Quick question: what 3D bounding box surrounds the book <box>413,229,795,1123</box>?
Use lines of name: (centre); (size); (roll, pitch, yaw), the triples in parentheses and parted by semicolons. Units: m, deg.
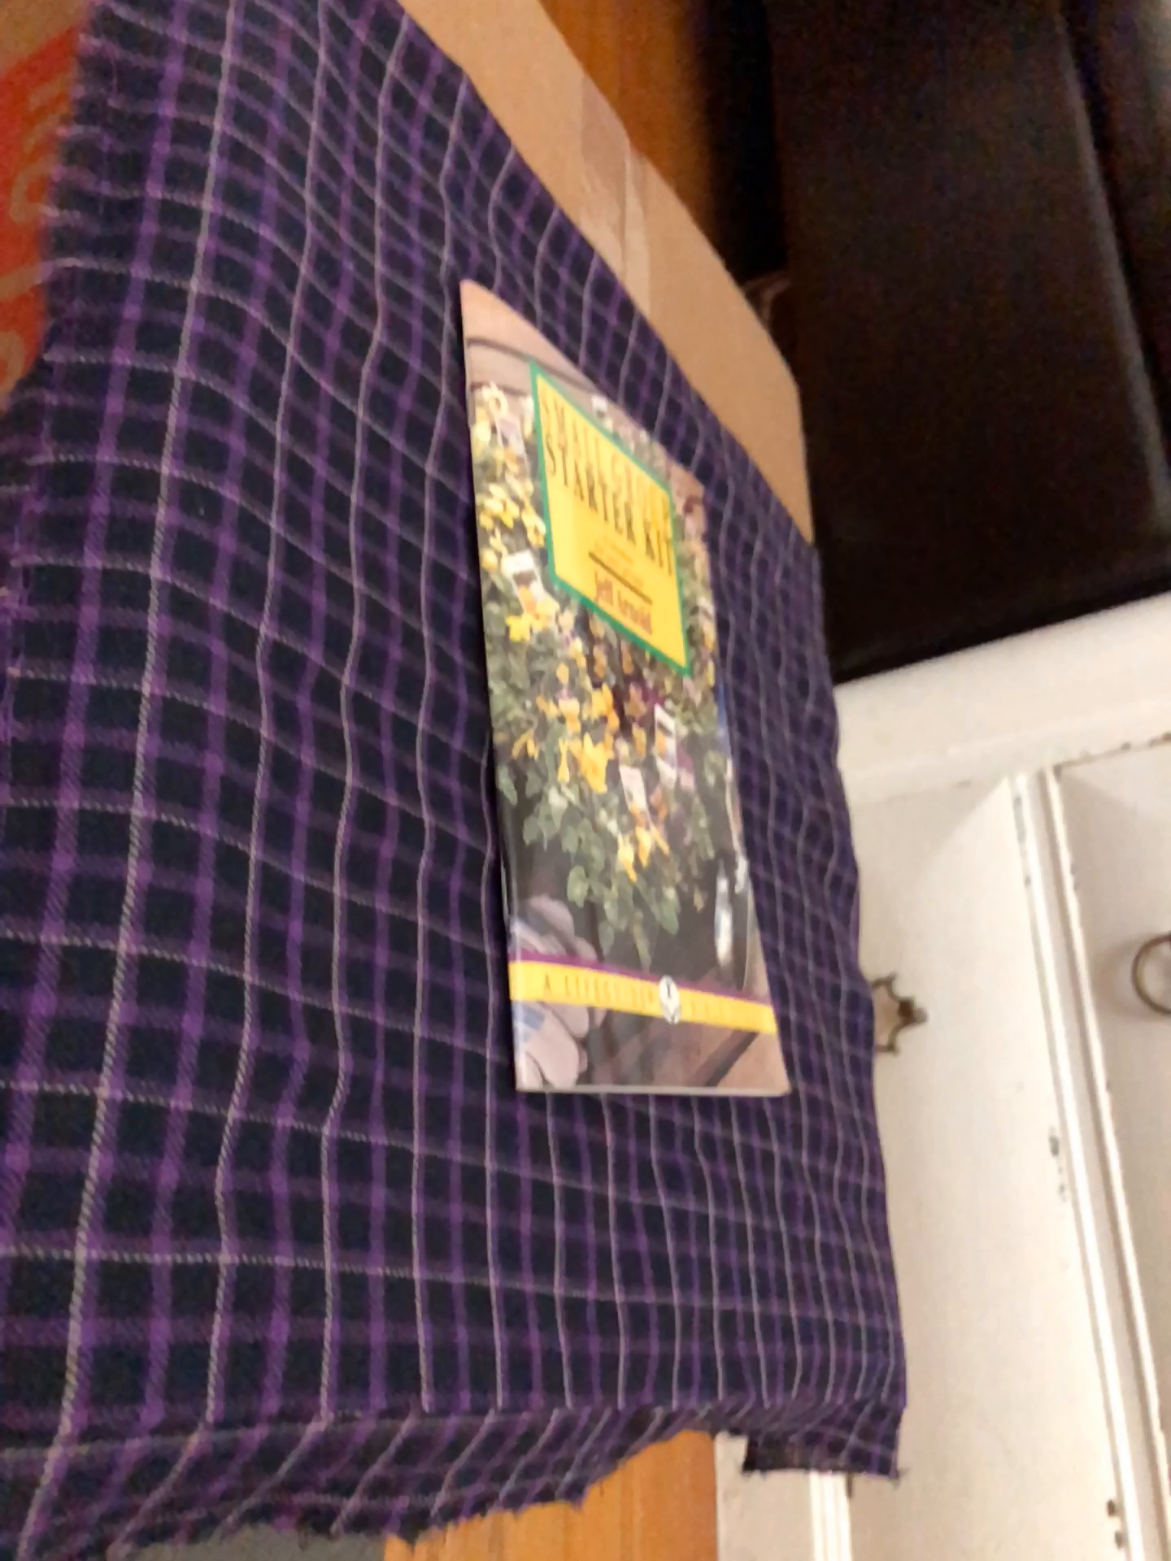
book: (0.009, -0.019, 0.362); (0.151, 0.010, 0.220); (22, 57, -56)
